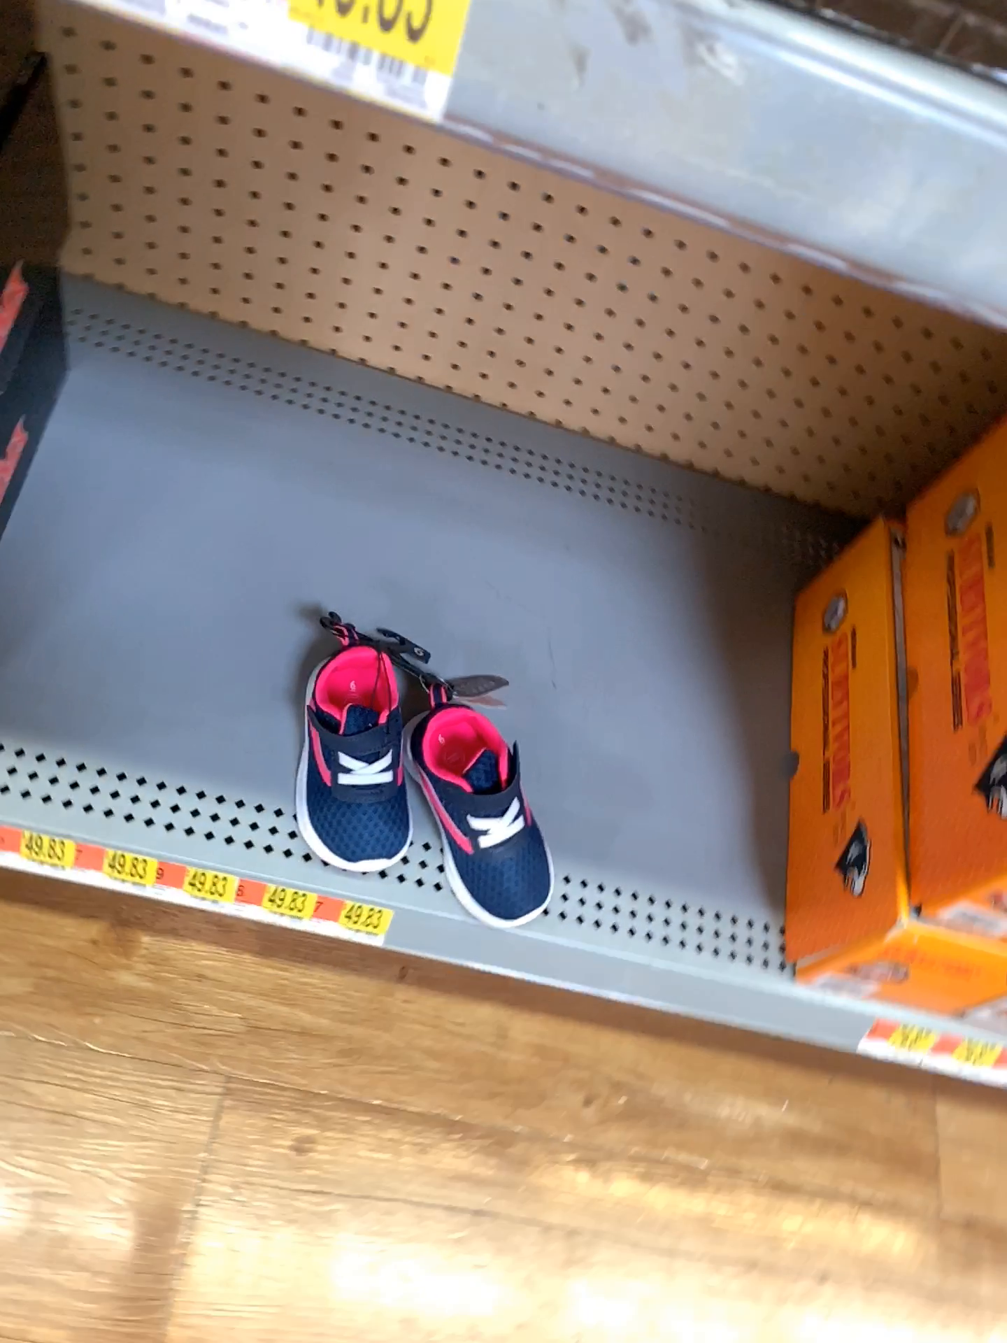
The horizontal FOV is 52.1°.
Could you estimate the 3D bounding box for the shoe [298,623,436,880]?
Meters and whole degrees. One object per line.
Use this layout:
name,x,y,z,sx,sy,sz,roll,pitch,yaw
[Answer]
shoe,-0.089,0.051,0.649,0.073,0.064,0.146,3,63,-17

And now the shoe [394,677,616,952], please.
shoe,-0.003,0.090,0.656,0.073,0.064,0.145,-17,70,-25
